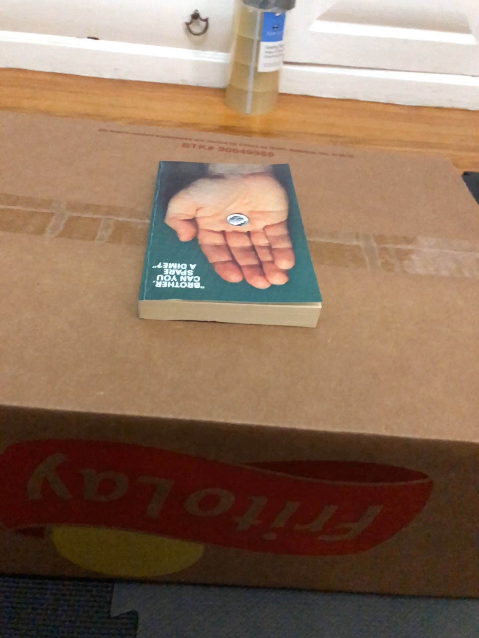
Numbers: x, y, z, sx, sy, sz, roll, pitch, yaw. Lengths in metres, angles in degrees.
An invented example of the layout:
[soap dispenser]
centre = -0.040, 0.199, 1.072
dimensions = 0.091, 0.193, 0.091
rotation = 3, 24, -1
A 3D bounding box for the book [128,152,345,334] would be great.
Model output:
[book]
centre = -0.006, -0.062, 0.366
dimensions = 0.120, 0.020, 0.181
rotation = 2, 42, -6
